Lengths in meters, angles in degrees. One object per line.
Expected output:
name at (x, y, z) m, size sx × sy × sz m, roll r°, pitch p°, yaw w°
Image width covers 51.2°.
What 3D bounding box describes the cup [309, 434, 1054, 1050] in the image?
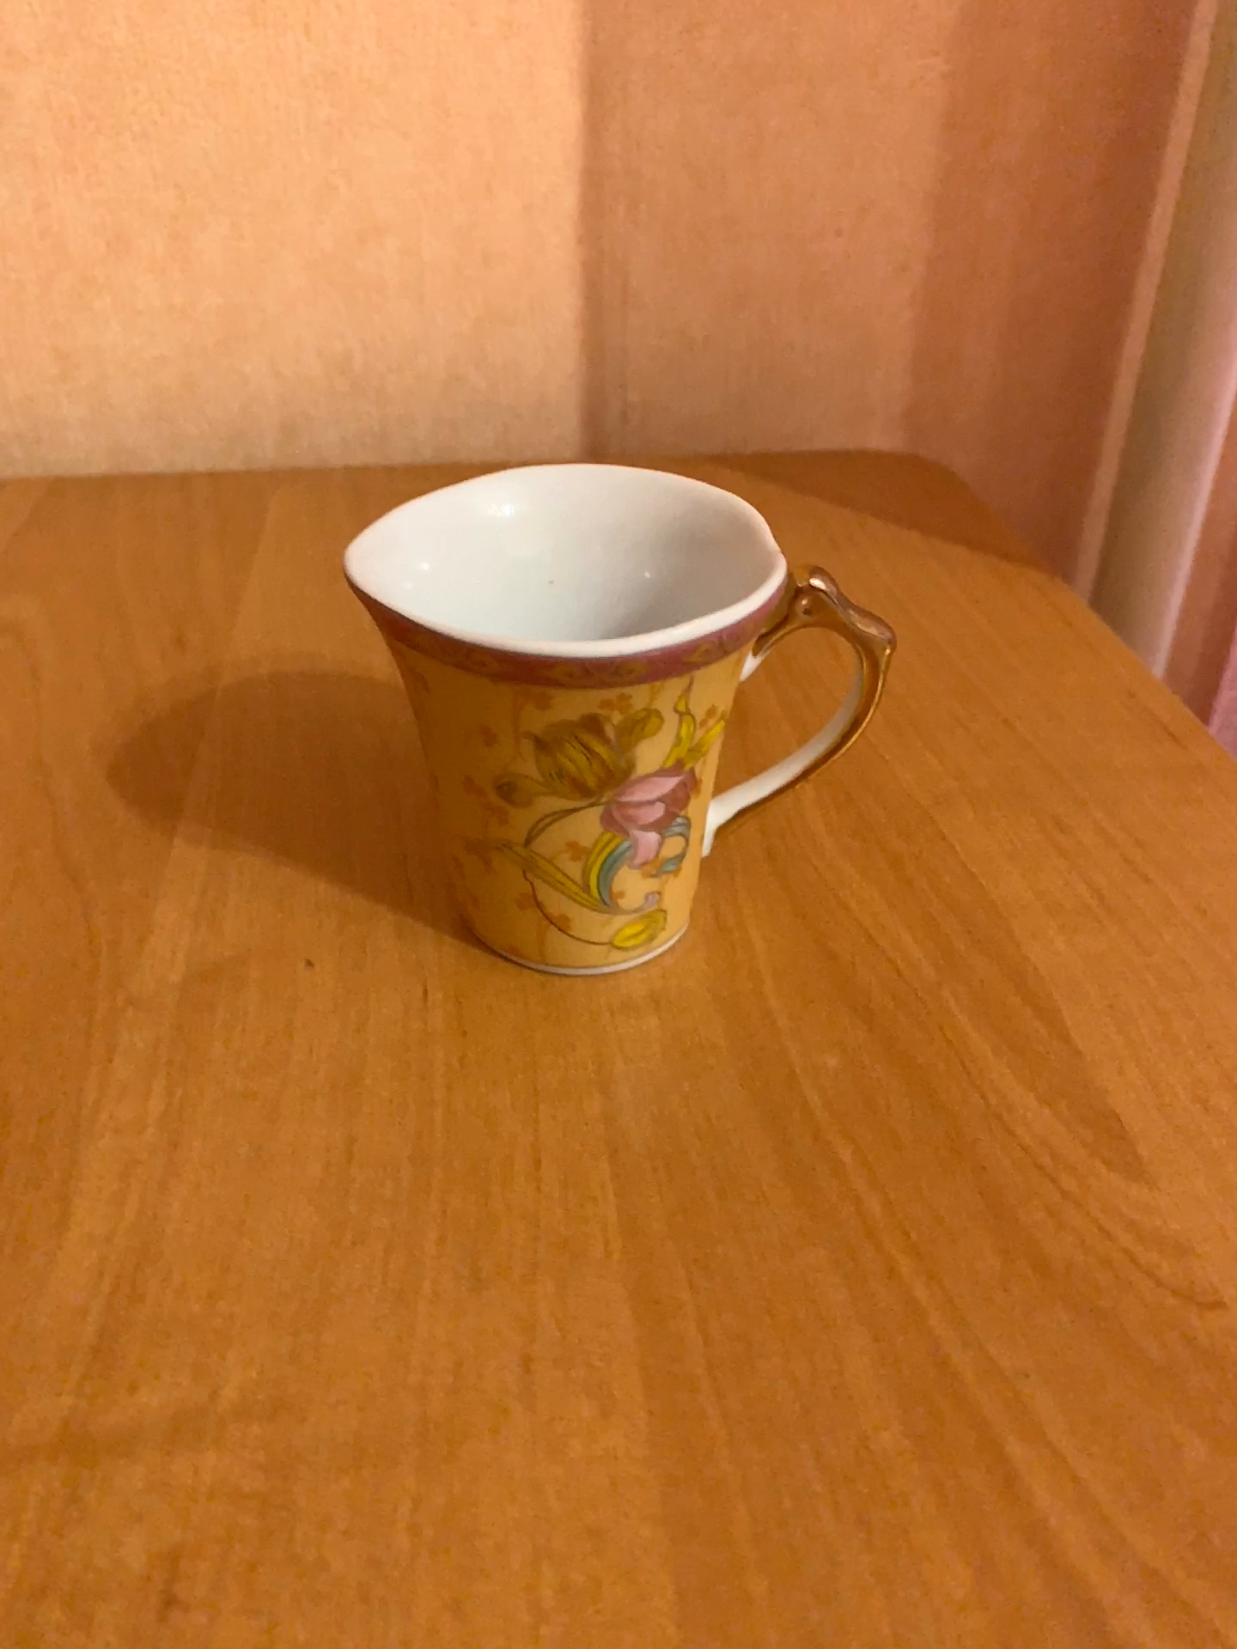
cup at (0.005, -0.020, 0.214) m, size 0.094 × 0.061 × 0.072 m, roll -11°, pitch 35°, yaw -16°
